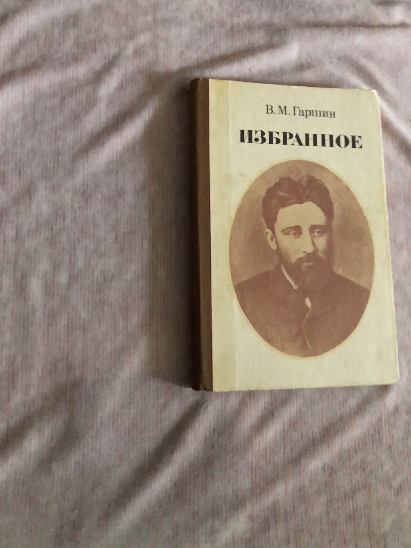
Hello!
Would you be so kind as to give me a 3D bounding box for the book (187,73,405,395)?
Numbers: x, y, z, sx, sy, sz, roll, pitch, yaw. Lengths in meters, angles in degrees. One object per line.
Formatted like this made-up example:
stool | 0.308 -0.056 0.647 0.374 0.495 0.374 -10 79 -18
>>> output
book | 0.061 -0.031 0.332 0.142 0.030 0.220 0 82 -9
